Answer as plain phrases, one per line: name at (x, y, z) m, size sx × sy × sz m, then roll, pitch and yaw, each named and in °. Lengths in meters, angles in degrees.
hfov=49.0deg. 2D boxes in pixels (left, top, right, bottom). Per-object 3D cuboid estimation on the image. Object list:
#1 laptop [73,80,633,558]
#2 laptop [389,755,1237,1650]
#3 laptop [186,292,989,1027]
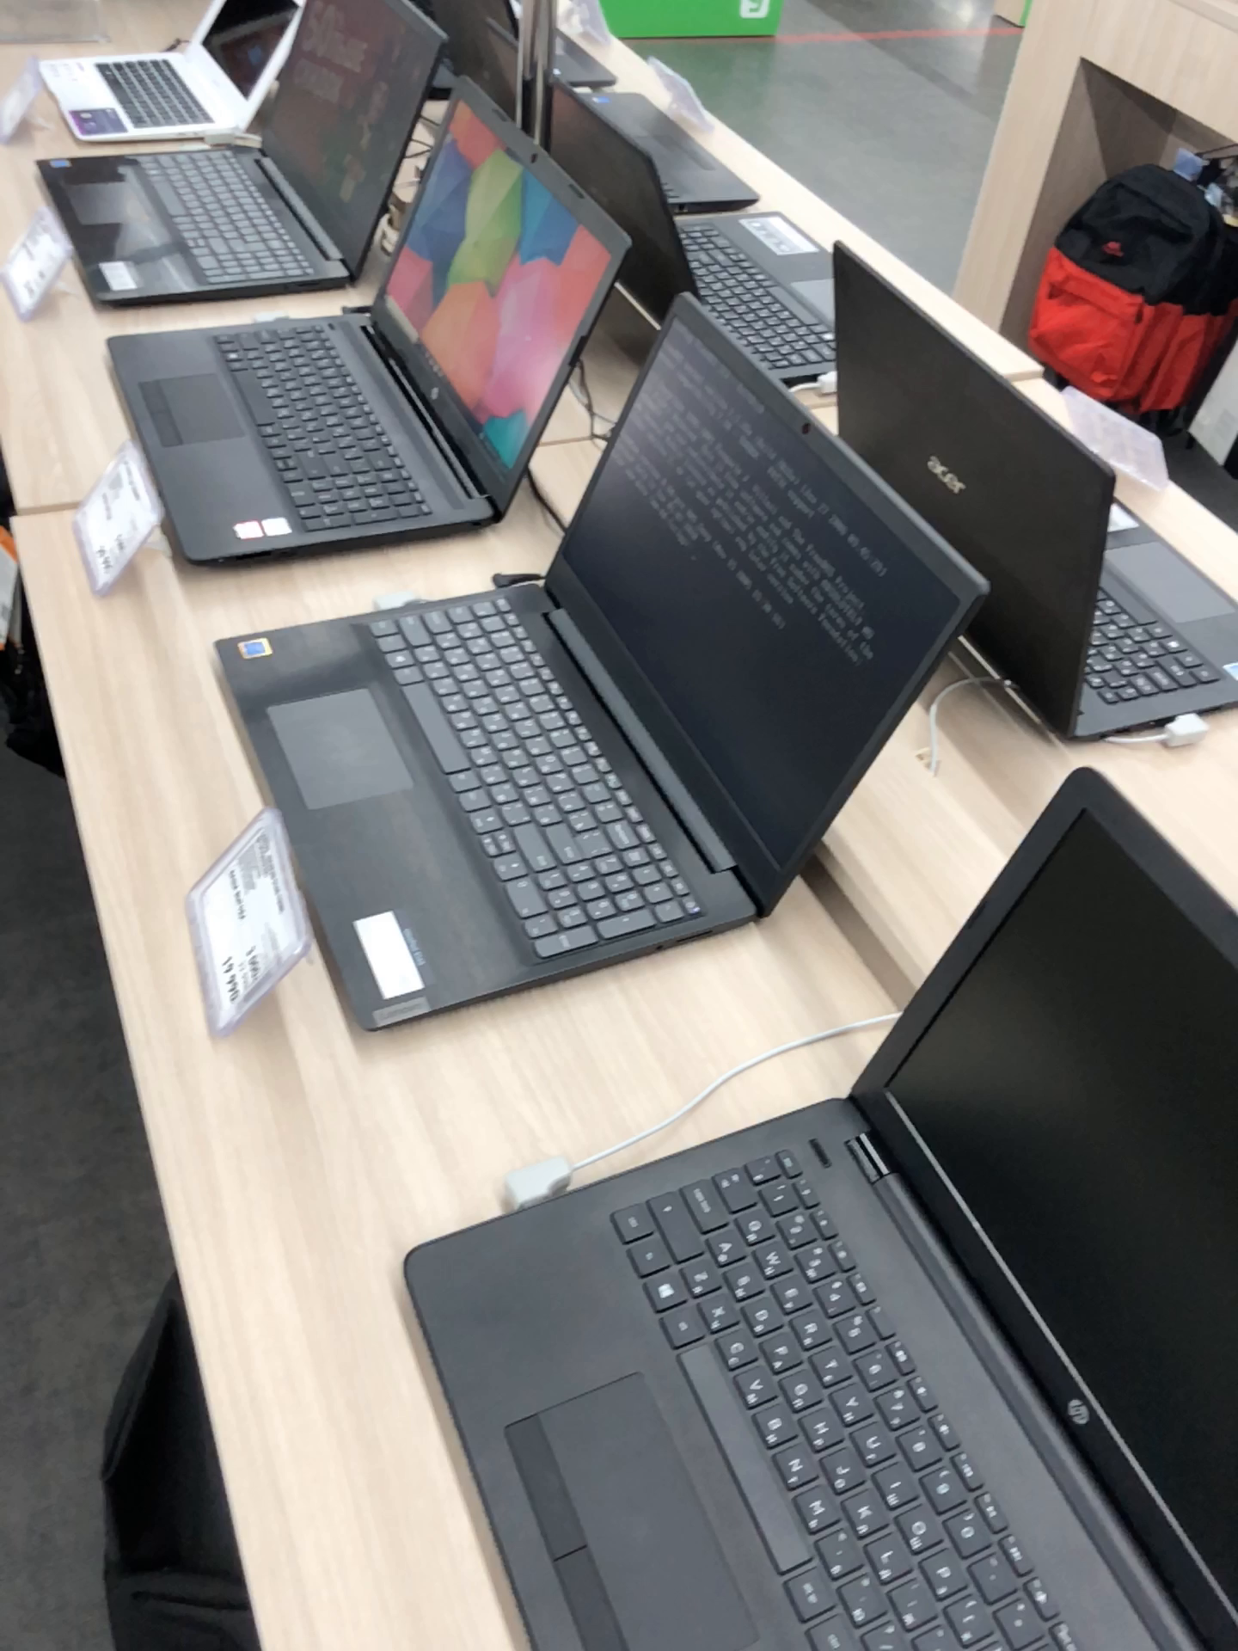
laptop at (-0.218, -0.415, 1.070) m, size 0.320 × 0.202 × 0.353 m, roll -13°, pitch 48°, yaw -19°
laptop at (0.109, 0.199, 0.468) m, size 0.297 × 0.208 × 0.338 m, roll -14°, pitch 48°, yaw -20°
laptop at (-0.043, -0.121, 0.789) m, size 0.322 × 0.210 × 0.341 m, roll -14°, pitch 47°, yaw -19°
